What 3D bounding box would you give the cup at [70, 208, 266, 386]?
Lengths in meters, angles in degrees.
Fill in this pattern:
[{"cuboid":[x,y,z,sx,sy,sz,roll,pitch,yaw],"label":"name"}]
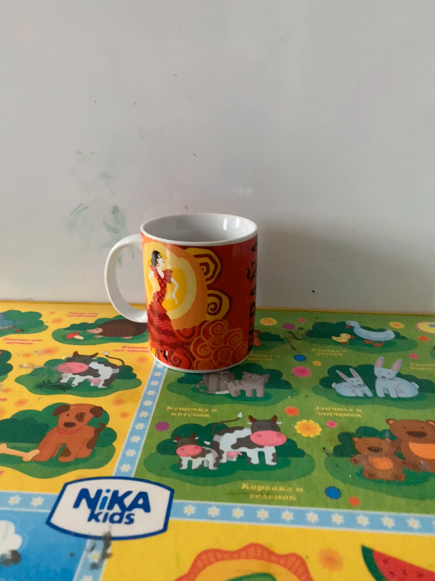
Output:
[{"cuboid":[-0.026,-0.001,0.324,0.118,0.097,0.085,2,22,6],"label":"cup"}]
